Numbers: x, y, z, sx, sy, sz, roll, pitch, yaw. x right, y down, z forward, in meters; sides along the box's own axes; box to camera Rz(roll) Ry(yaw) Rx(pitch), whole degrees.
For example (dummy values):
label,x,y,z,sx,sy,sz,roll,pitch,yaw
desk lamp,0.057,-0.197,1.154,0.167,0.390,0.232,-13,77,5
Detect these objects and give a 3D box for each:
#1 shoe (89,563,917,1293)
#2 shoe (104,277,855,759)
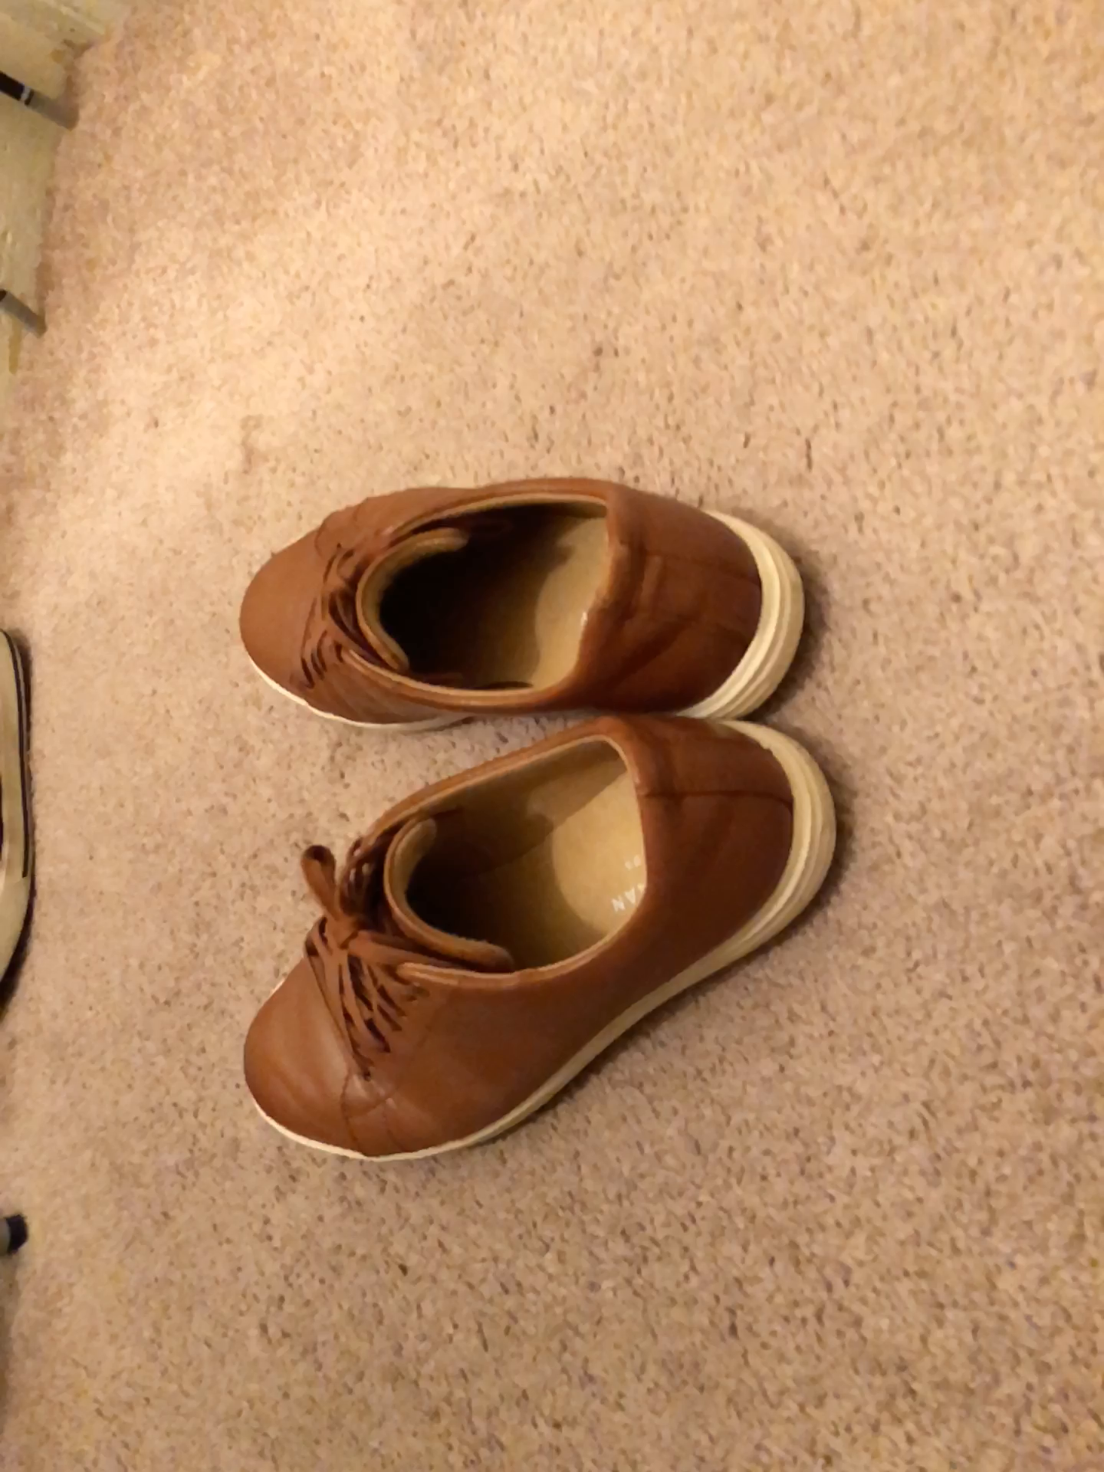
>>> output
label,x,y,z,sx,sy,sz,roll,pitch,yaw
shoe,-0.040,0.083,0.422,0.285,0.100,0.117,-38,58,32
shoe,-0.044,-0.057,0.454,0.286,0.102,0.117,0,81,44
